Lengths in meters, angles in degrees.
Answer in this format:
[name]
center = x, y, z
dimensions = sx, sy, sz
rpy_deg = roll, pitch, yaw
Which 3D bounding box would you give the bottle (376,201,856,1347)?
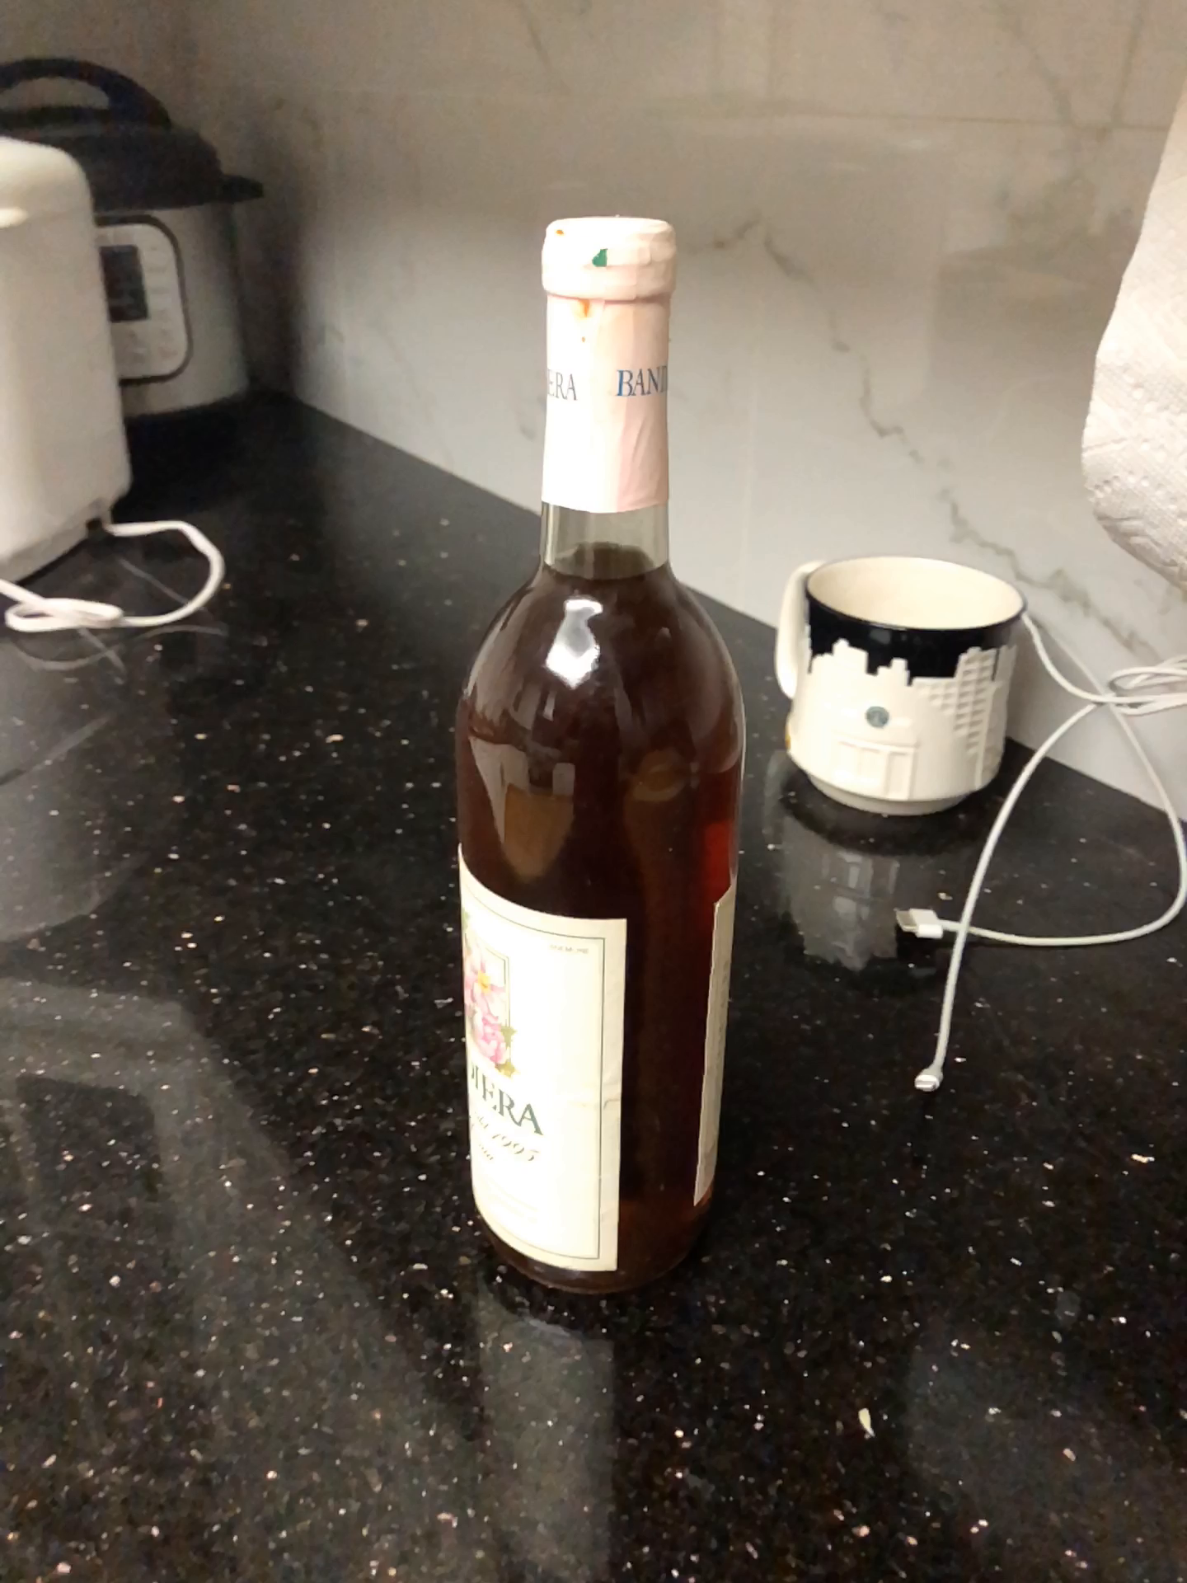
[bottle]
center = -0.001, 0.006, 0.335
dimensions = 0.080, 0.278, 0.080
rpy_deg = 0, 28, 0
